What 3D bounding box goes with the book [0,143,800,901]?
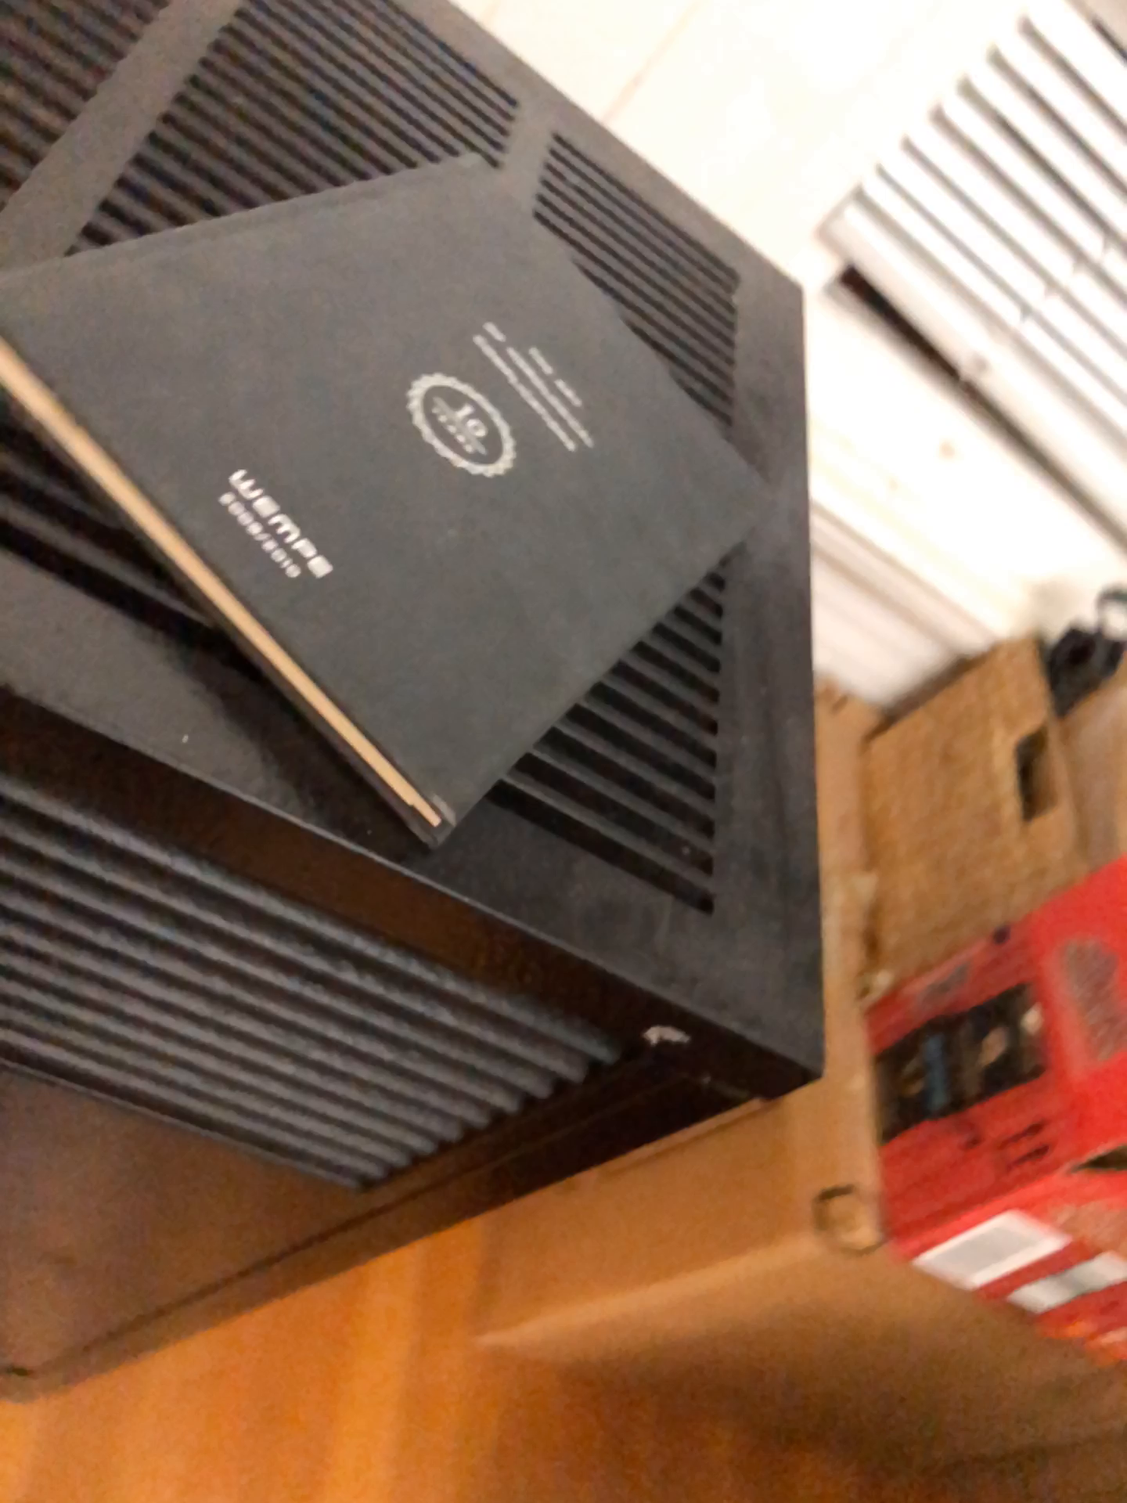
[{"bbox_3d":[-0.030,-0.091,0.362,0.160,0.020,0.252,47,41,-4],"label":"book"}]
